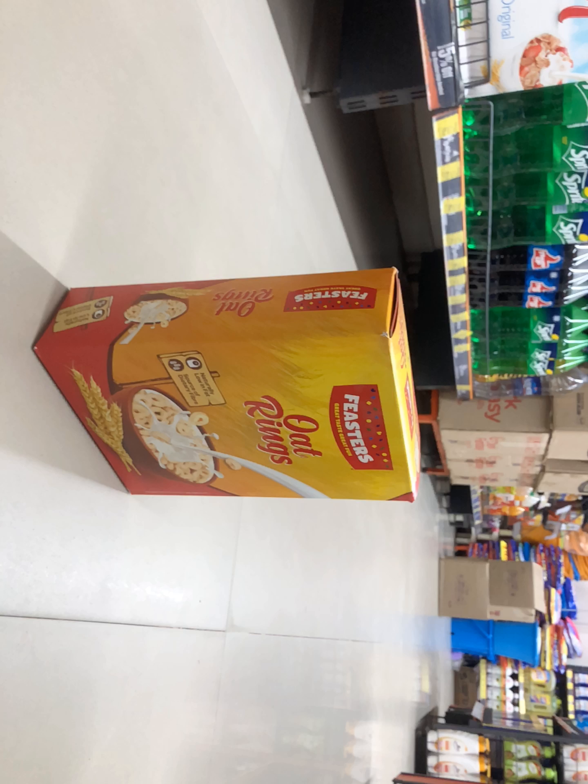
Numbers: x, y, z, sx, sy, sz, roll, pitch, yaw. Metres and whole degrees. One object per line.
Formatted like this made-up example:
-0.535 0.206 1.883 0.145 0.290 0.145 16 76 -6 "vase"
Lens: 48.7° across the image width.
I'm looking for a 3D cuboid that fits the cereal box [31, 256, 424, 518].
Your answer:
-0.029 0.008 0.448 0.171 0.219 0.070 74 20 -43 "cereal box"
